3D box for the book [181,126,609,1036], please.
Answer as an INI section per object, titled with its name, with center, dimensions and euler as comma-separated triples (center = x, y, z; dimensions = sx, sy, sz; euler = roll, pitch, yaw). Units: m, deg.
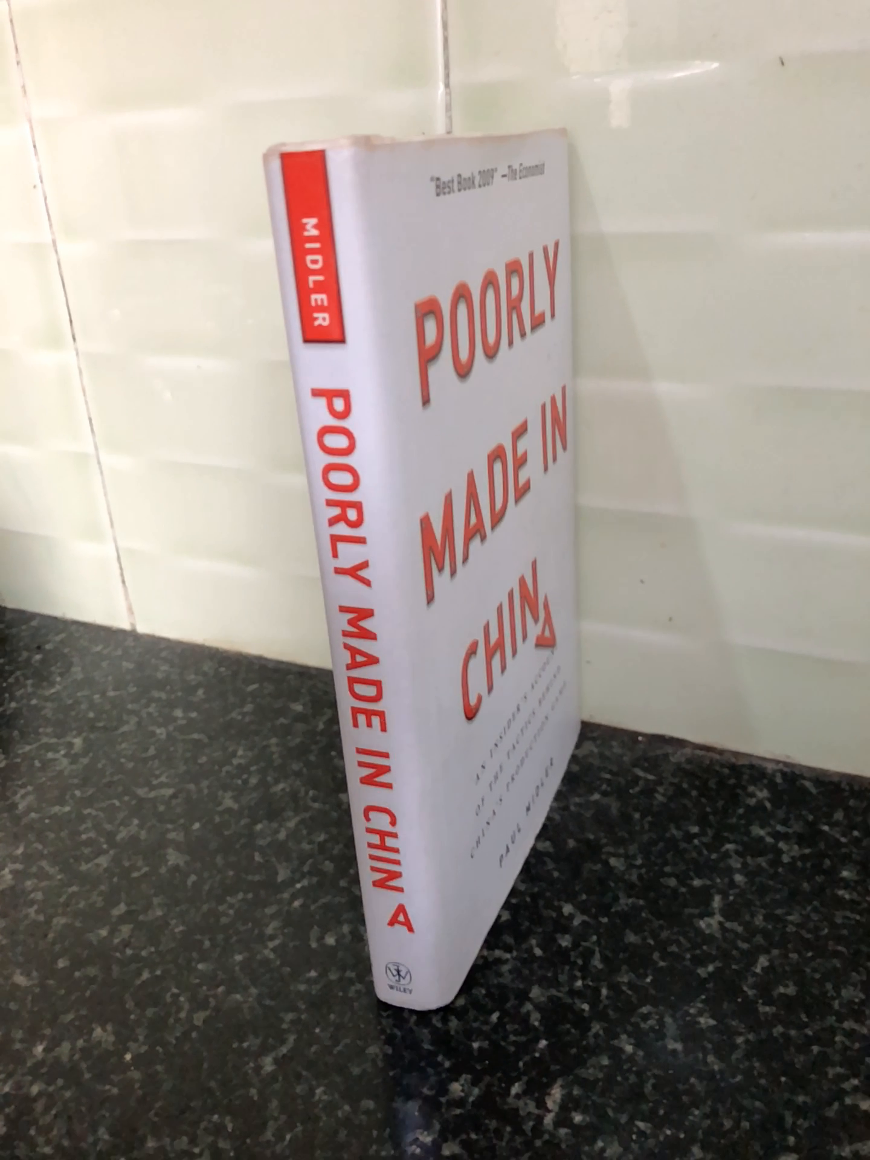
[book]
center = 0.012, -0.019, 0.302
dimensions = 0.040, 0.219, 0.191
euler = 6, 26, 21
